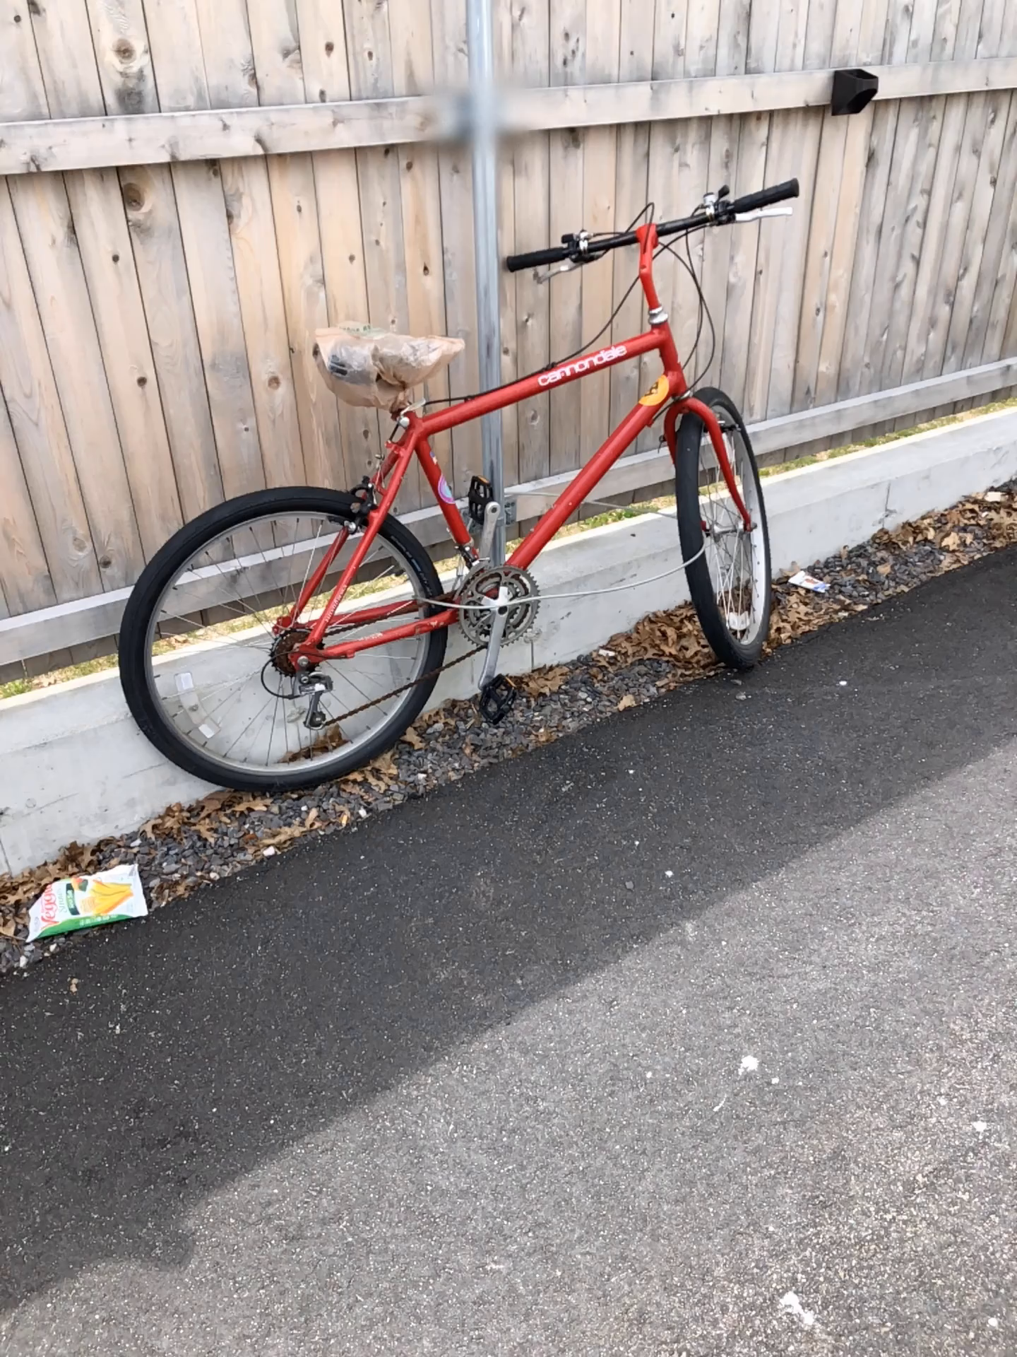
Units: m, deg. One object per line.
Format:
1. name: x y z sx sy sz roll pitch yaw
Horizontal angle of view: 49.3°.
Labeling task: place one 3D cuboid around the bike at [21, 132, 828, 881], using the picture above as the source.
1. bike: -0.117 -0.468 2.278 1.478 1.001 0.595 -20 34 -27
